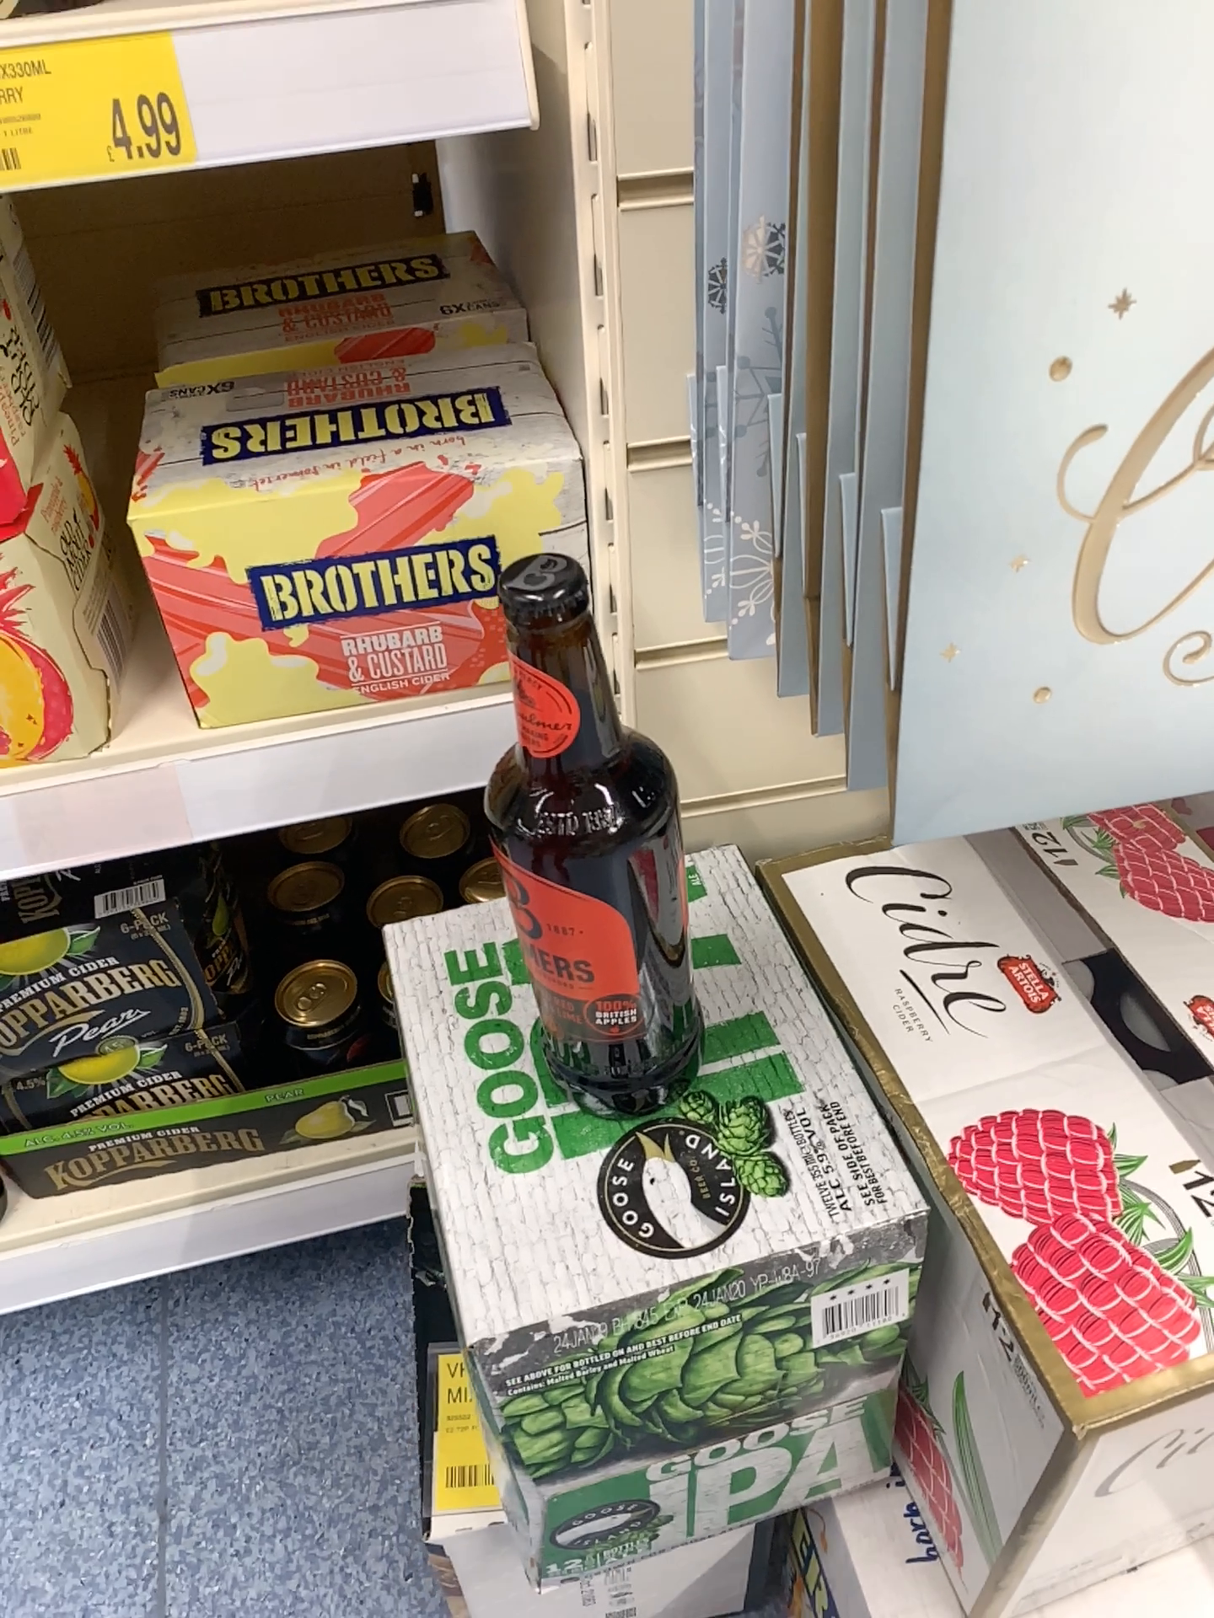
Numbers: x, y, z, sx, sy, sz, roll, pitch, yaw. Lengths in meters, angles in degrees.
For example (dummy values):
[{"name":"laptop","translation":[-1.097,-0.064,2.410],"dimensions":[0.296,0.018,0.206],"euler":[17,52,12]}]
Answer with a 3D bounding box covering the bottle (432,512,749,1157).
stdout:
[{"name":"bottle","translation":[0.003,0.020,0.464],"dimensions":[0.070,0.234,0.070],"euler":[-3,41,3]}]
